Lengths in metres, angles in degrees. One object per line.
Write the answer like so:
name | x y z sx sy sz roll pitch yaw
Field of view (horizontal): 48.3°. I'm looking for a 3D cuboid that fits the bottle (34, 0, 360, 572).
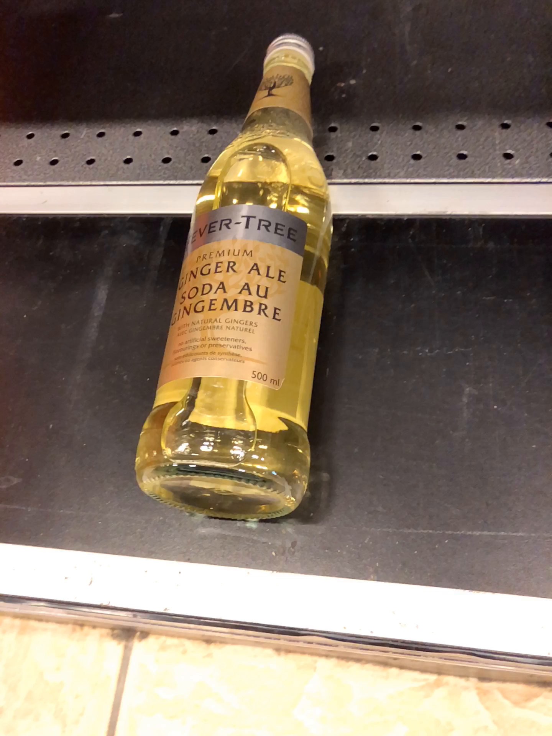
bottle | -0.012 -0.059 0.297 0.090 0.090 0.280 2 61 10
